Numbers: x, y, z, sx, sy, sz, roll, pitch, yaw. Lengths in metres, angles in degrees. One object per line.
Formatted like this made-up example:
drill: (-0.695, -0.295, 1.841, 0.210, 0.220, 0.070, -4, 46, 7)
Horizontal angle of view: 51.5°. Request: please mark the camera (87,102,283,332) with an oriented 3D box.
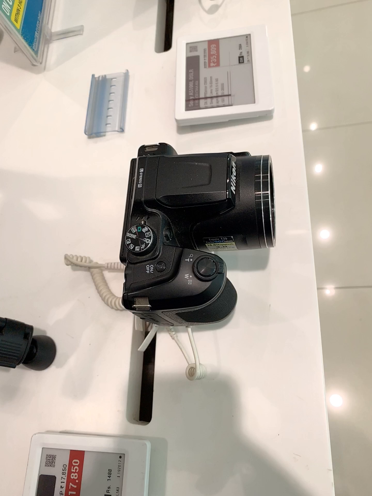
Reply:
camera: (0.008, -0.012, 0.253, 0.100, 0.080, 0.120, -3, 68, 16)
